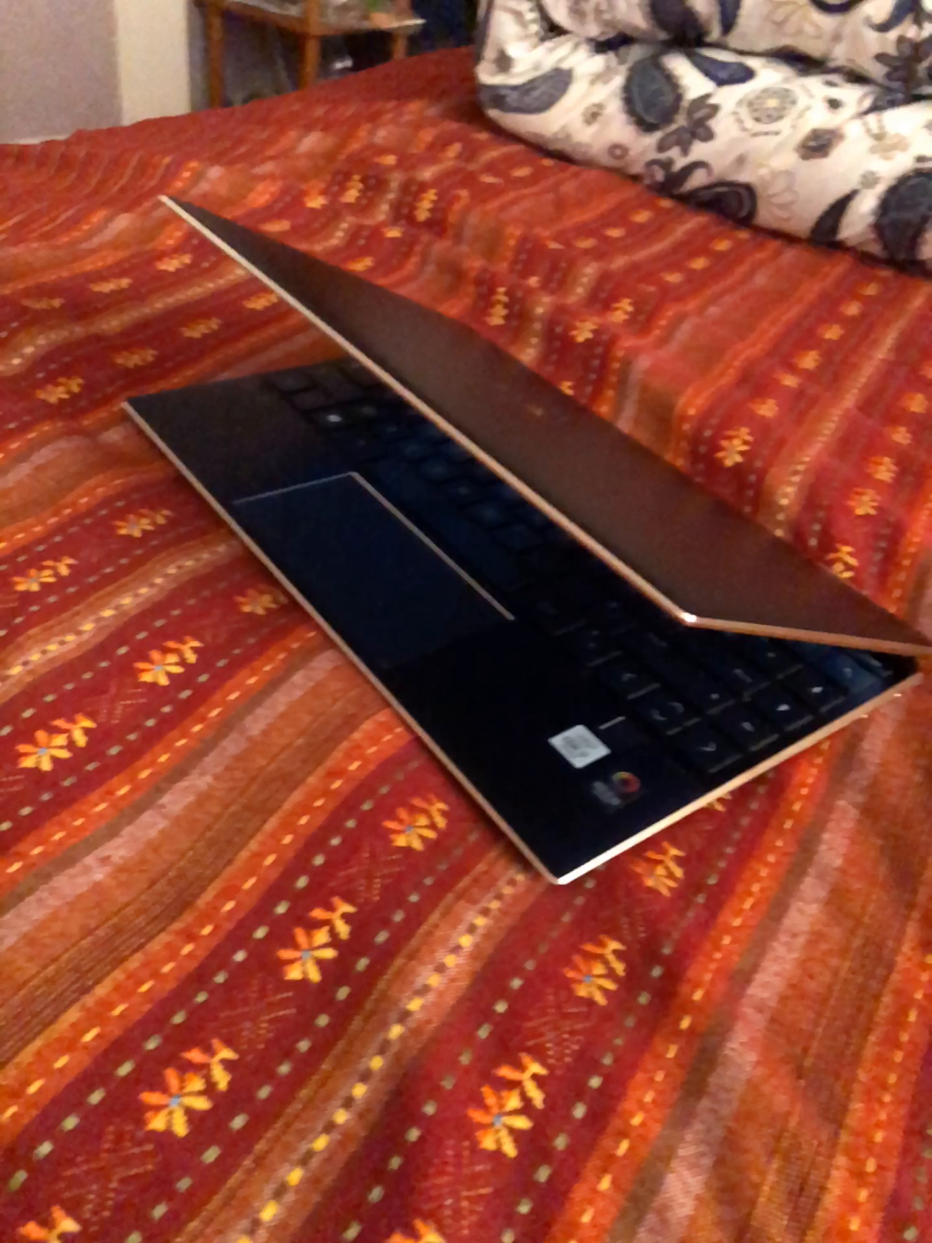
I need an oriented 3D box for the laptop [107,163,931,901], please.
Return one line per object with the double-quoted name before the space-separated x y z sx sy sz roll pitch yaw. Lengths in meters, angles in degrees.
"laptop" 0.014 -0.084 0.410 0.203 0.101 0.326 -18 44 -35
